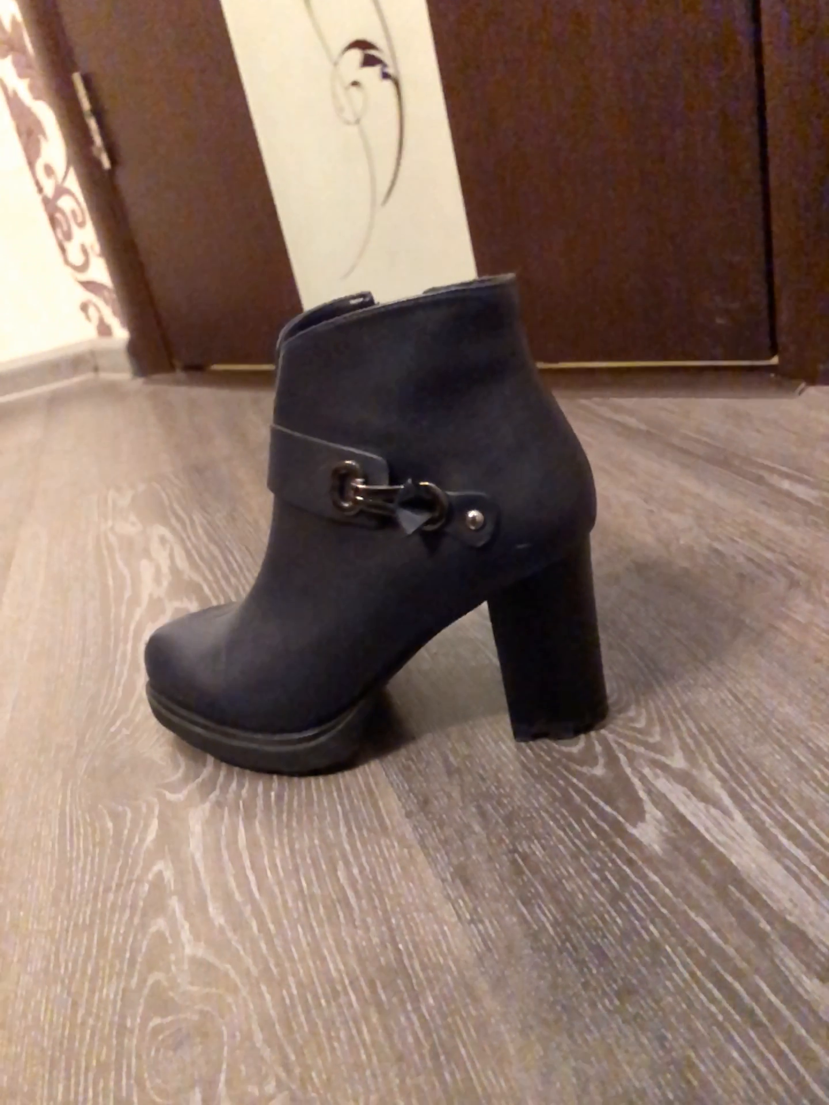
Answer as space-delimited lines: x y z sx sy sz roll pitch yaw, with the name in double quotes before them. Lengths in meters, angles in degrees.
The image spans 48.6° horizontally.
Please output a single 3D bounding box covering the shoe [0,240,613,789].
"shoe" -0.043 -0.010 0.404 0.230 0.189 0.111 -6 25 17
